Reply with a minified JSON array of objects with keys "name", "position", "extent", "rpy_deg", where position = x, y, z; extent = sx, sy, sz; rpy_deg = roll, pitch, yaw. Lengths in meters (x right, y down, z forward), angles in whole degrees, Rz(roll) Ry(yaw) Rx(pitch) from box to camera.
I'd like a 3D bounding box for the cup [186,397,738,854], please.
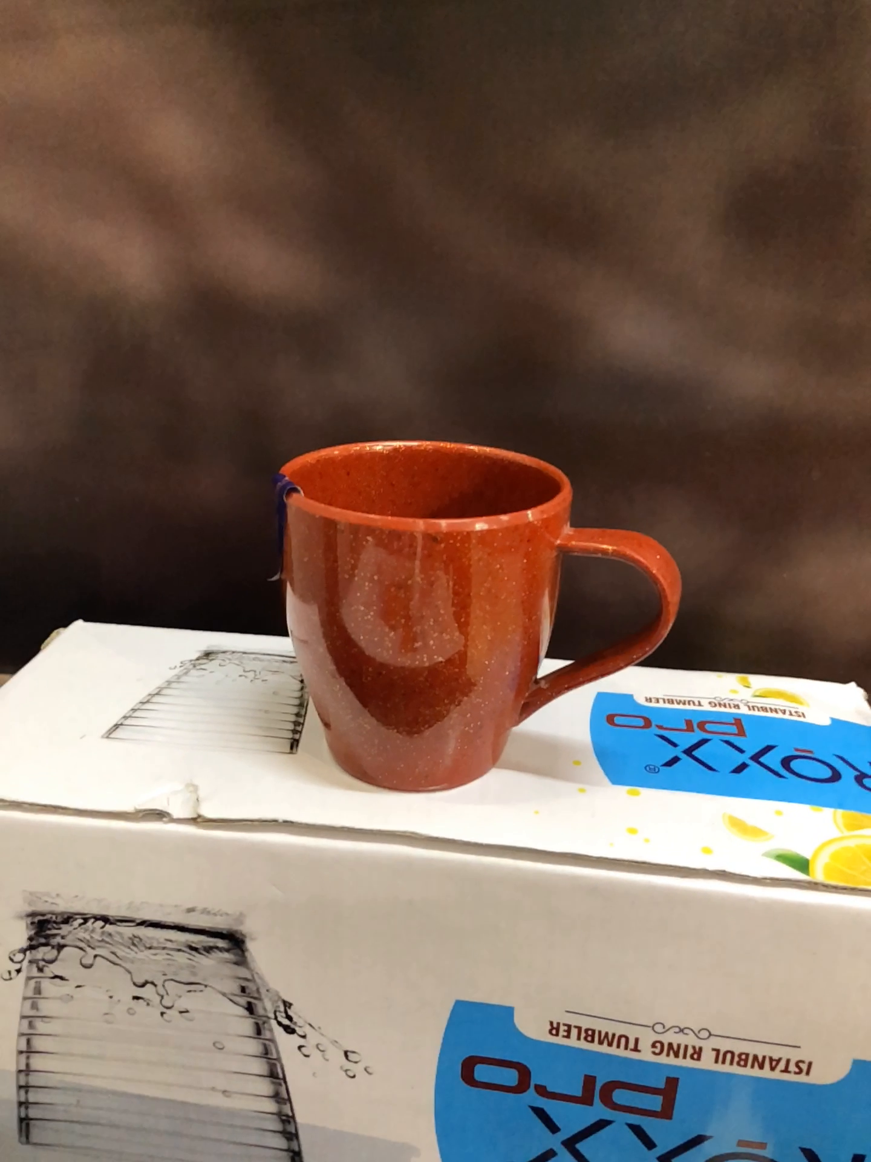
[{"name":"cup","position":[0.010,0.001,0.219],"extent":[0.100,0.070,0.070],"rpy_deg":[7,21,20]}]
